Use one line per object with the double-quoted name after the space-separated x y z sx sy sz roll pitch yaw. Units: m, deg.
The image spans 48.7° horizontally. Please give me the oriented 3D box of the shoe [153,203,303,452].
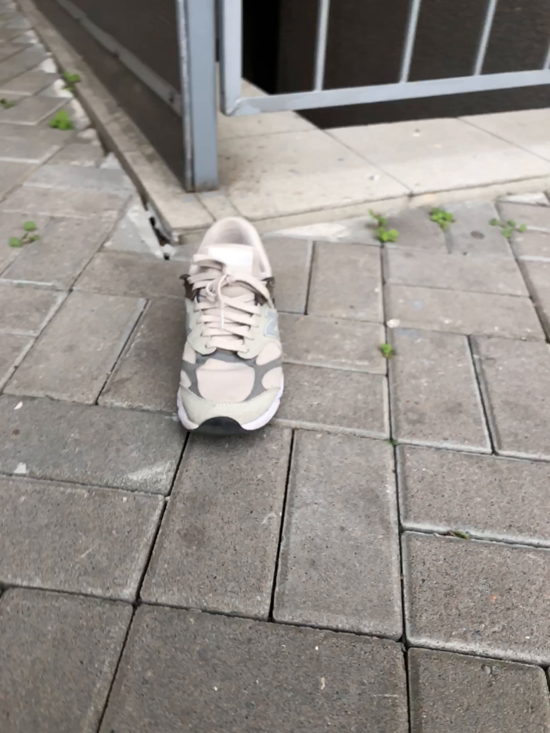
-0.044 -0.058 0.640 0.120 0.109 0.302 0 38 -2 "shoe"
